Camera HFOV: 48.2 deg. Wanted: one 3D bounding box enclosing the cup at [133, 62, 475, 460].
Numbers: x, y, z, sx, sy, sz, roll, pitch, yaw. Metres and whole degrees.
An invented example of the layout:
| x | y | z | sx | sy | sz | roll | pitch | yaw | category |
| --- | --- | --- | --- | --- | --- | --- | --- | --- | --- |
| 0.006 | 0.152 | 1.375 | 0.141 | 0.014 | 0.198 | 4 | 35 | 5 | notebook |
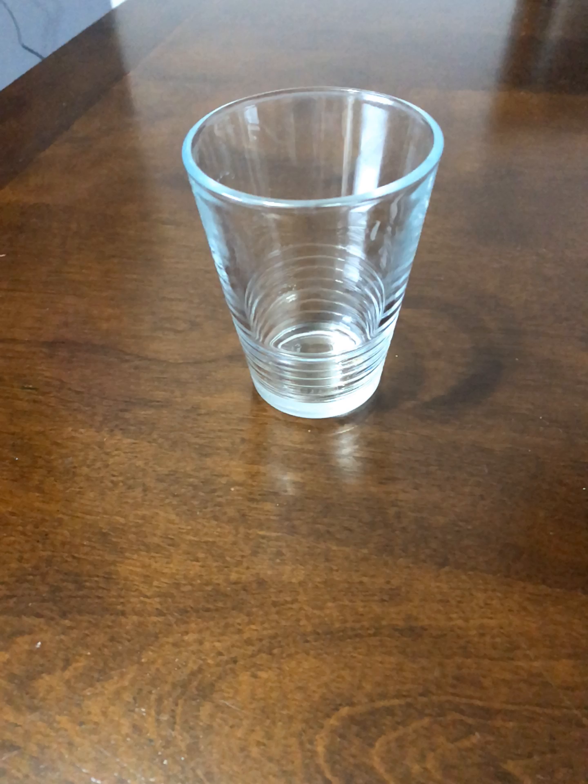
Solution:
| x | y | z | sx | sy | sz | roll | pitch | yaw | category |
| --- | --- | --- | --- | --- | --- | --- | --- | --- | --- |
| 0.003 | -0.047 | 0.235 | 0.080 | 0.100 | 0.070 | -23 | 48 | -19 | cup |
